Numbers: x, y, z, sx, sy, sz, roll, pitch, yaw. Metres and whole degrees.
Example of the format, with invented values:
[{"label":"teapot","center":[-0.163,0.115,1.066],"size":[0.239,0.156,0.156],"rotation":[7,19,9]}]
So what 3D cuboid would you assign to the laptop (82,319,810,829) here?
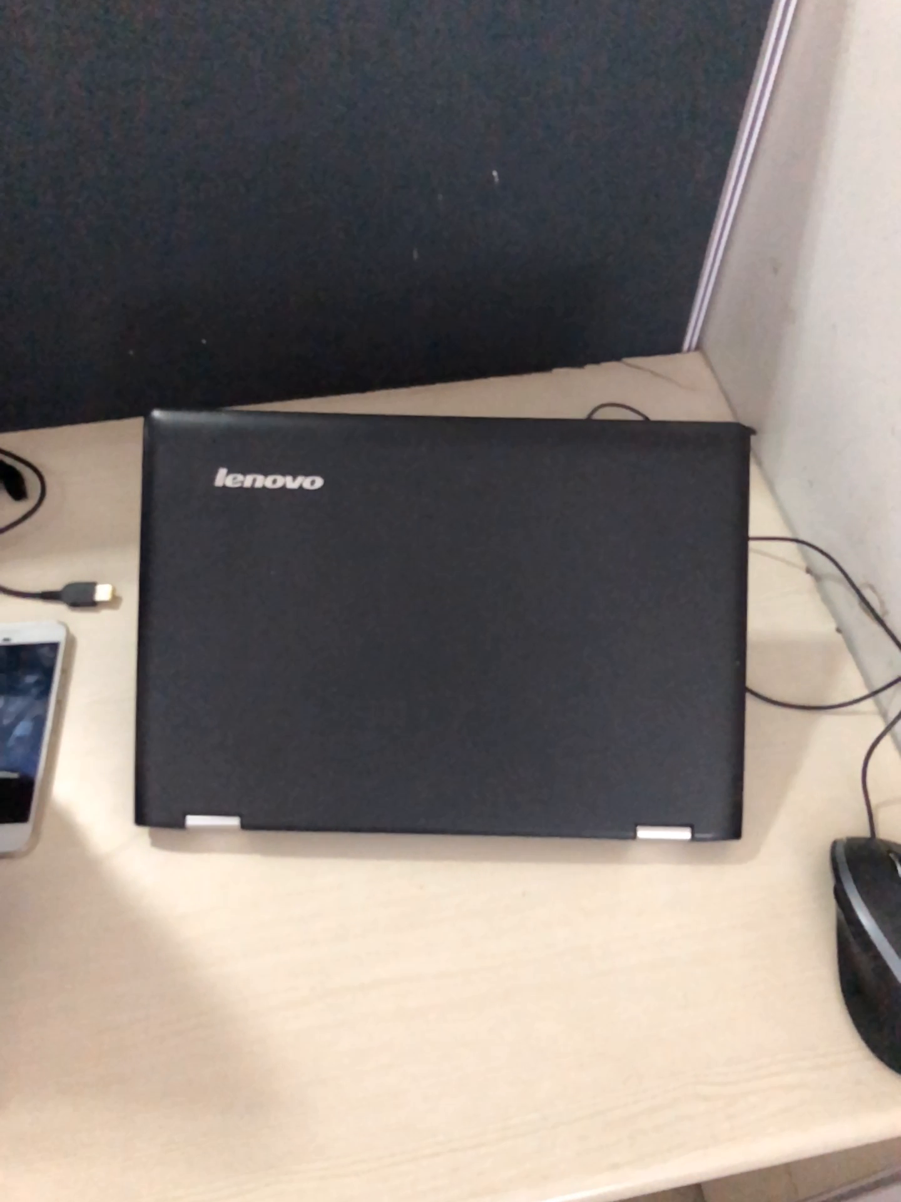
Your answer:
[{"label":"laptop","center":[-0.003,-0.011,0.547],"size":[0.323,0.142,0.205],"rotation":[2,61,0]}]
